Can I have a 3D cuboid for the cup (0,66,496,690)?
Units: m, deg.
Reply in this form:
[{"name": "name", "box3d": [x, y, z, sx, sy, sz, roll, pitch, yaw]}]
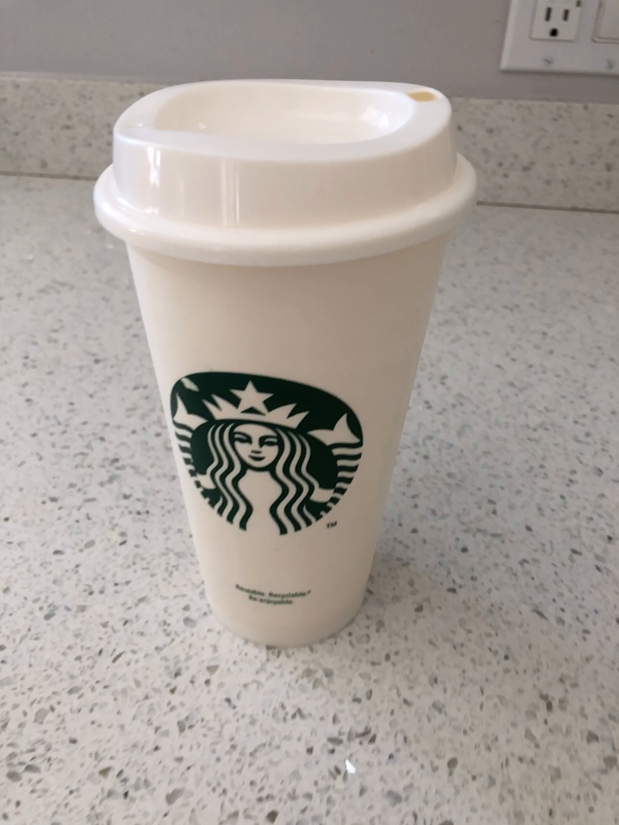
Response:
[{"name": "cup", "box3d": [-0.006, -0.012, 0.198, 0.090, 0.139, 0.090, 0, 35, 0]}]
